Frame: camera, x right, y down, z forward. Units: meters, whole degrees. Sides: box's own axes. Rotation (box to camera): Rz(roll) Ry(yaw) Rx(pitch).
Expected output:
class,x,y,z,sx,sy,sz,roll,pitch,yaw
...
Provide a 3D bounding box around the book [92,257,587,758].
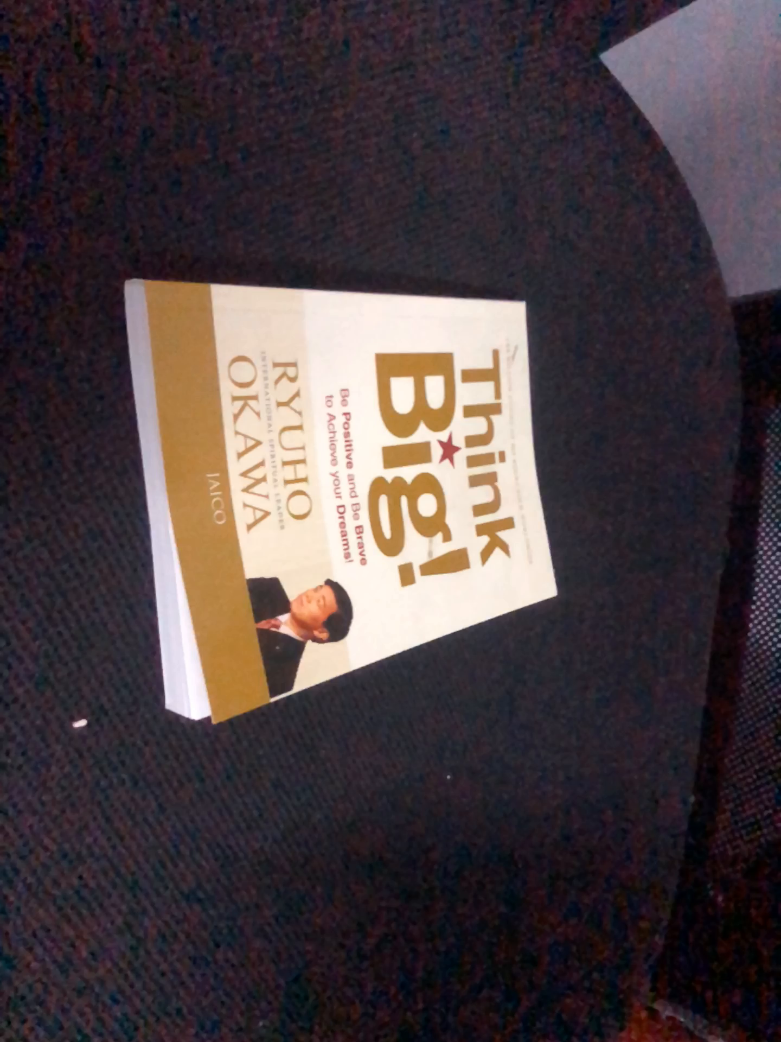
class,x,y,z,sx,sy,sz,roll,pitch,yaw
book,0.000,-0.017,0.310,0.191,0.026,0.137,-13,99,-43
